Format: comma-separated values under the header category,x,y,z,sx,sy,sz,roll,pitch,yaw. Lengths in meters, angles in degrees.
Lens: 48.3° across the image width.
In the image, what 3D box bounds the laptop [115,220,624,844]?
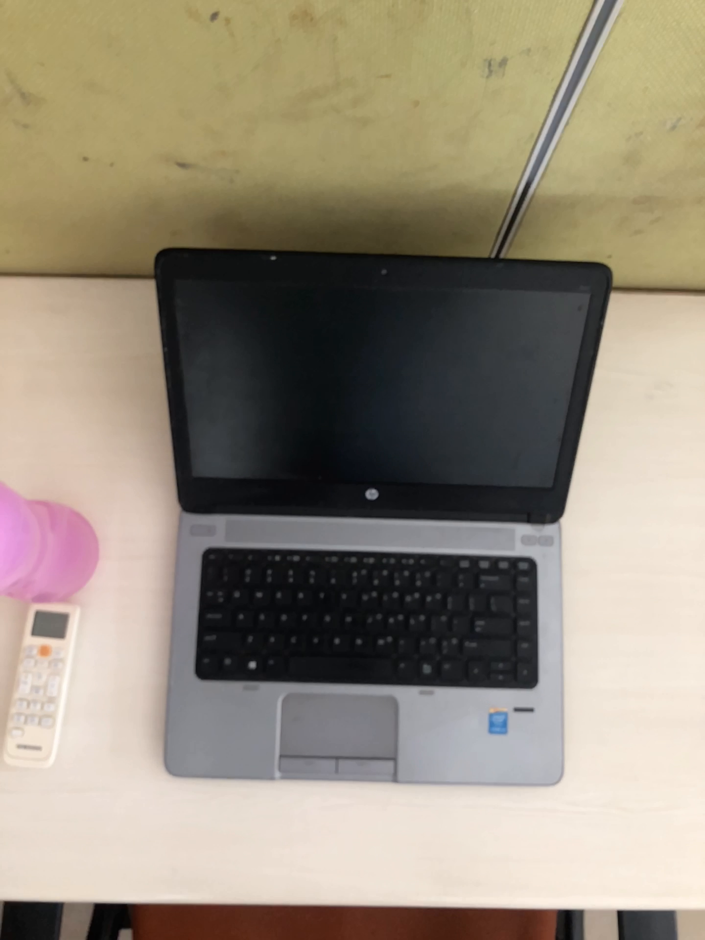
category,x,y,z,sx,sy,sz,roll,pitch,yaw
laptop,0.015,0.046,0.597,0.326,0.148,0.406,2,84,0
